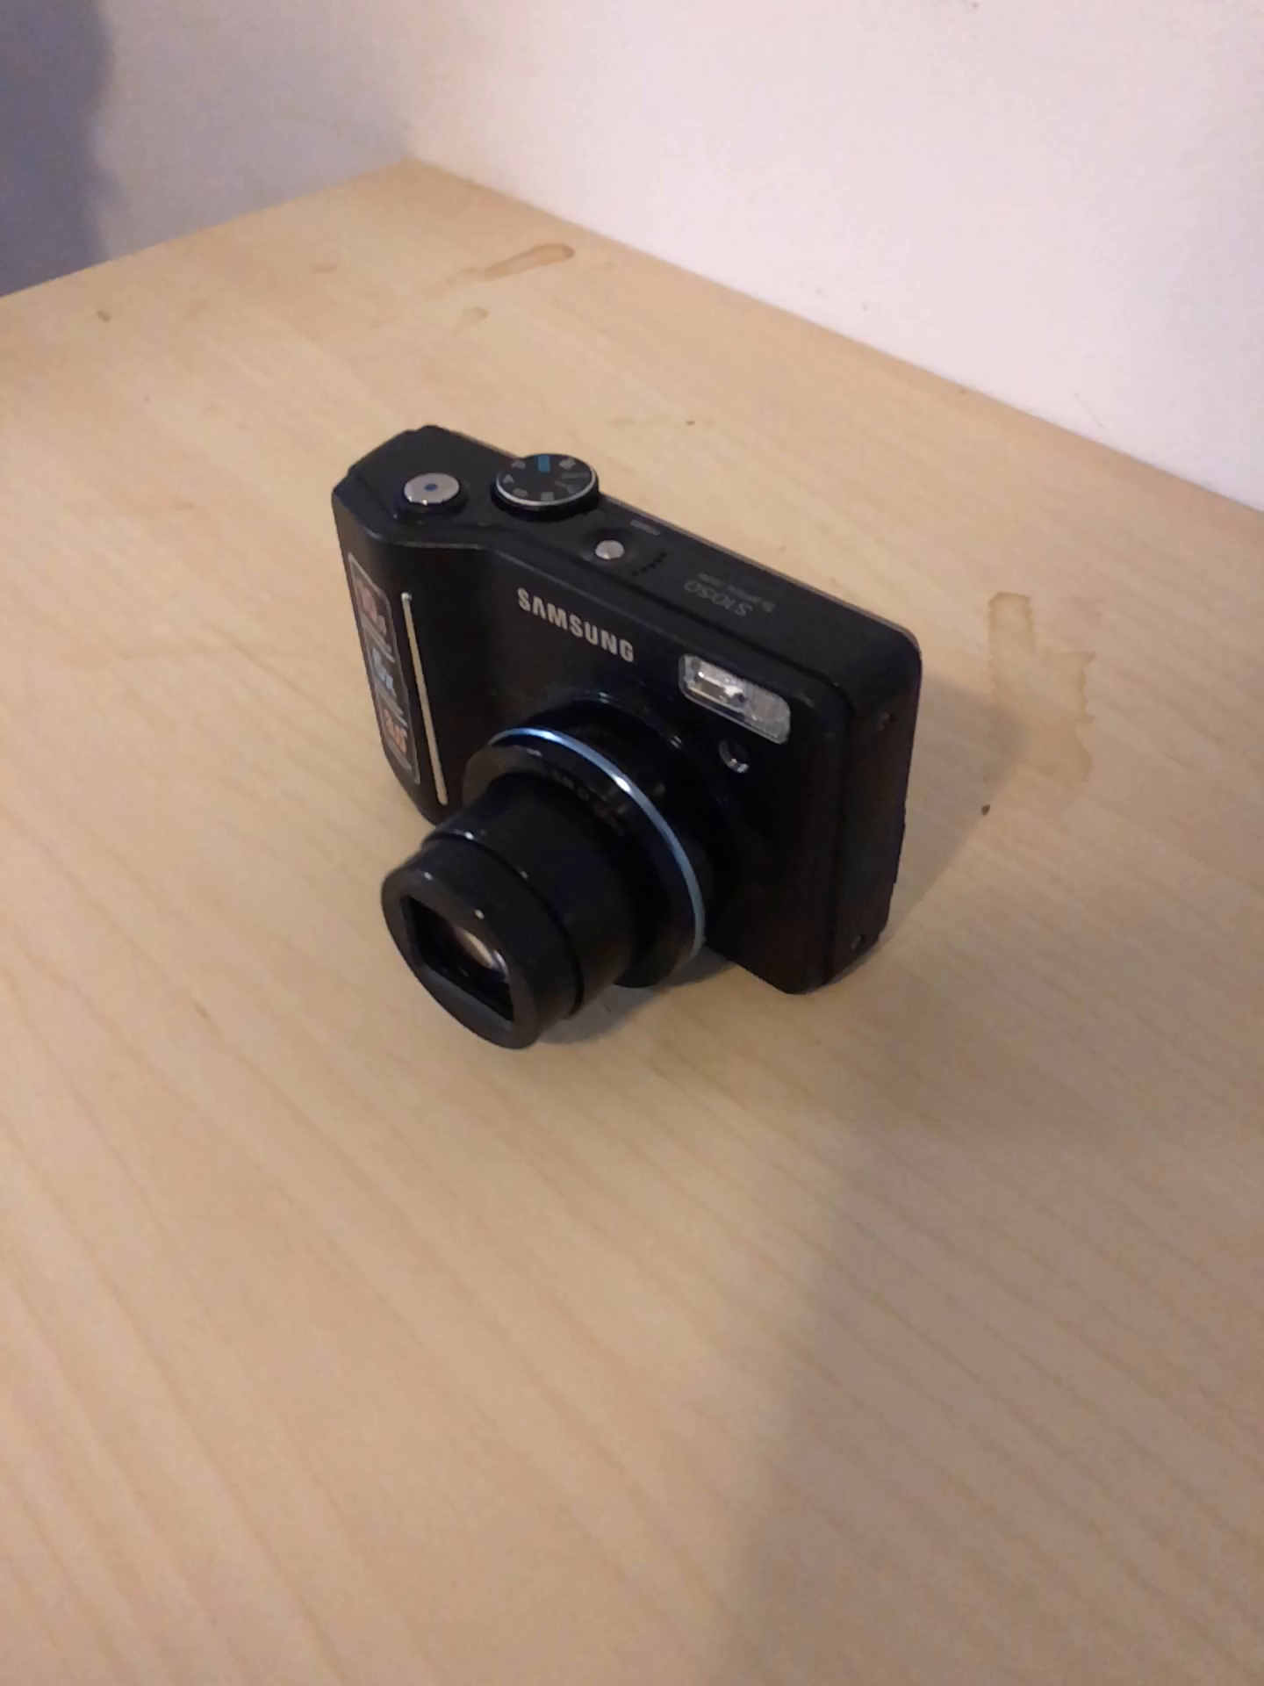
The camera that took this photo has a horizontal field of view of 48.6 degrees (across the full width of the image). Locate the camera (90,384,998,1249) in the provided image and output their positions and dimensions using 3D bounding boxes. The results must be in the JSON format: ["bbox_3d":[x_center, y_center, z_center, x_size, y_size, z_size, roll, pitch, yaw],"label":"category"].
[{"bbox_3d":[-0.014,-0.010,0.221,0.110,0.070,0.070,31,55,30],"label":"camera"}]
